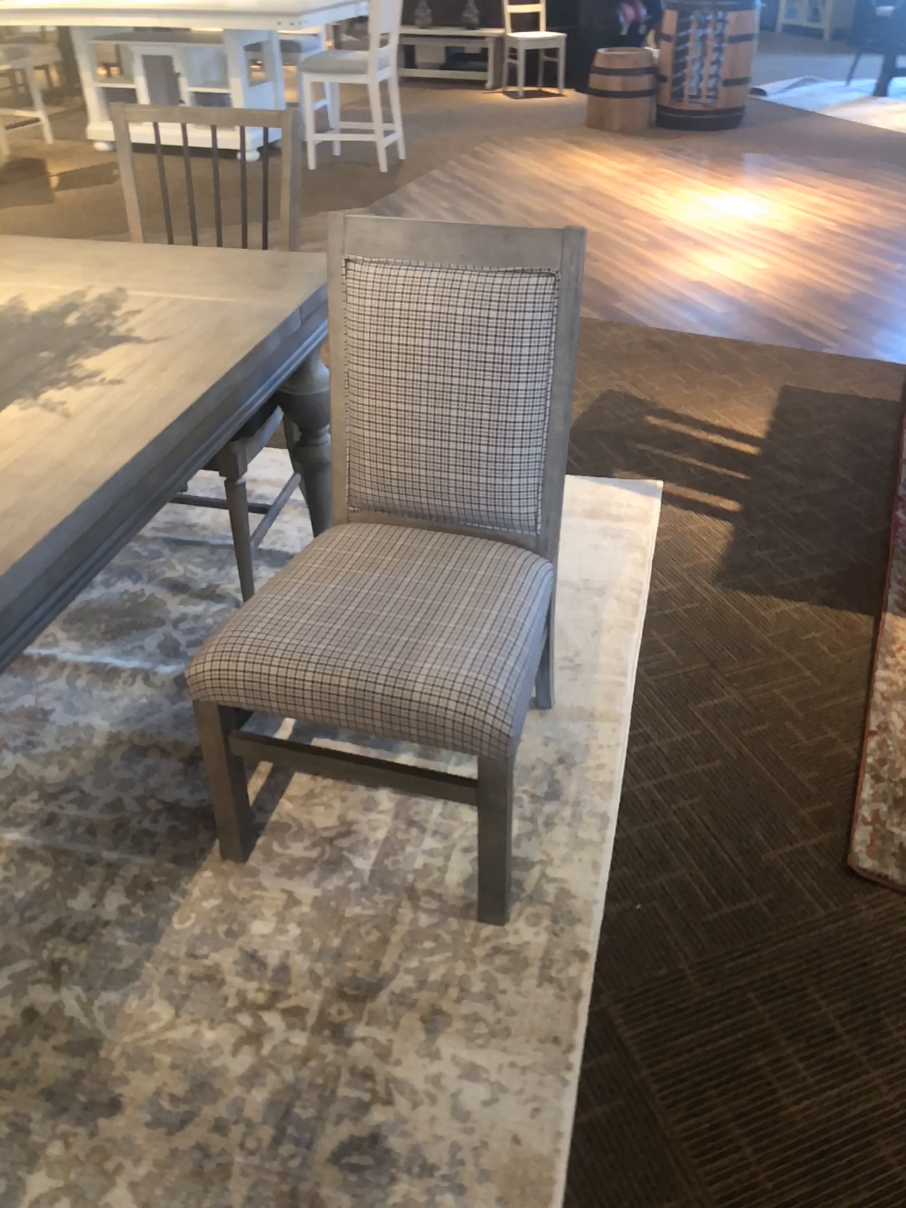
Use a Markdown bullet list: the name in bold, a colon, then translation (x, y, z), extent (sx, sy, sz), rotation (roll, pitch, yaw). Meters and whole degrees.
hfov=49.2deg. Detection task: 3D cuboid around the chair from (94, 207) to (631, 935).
- **chair**: translation (-0.063, -0.081, 1.566), extent (0.510, 0.865, 0.663), rotation (9, 36, 14)
